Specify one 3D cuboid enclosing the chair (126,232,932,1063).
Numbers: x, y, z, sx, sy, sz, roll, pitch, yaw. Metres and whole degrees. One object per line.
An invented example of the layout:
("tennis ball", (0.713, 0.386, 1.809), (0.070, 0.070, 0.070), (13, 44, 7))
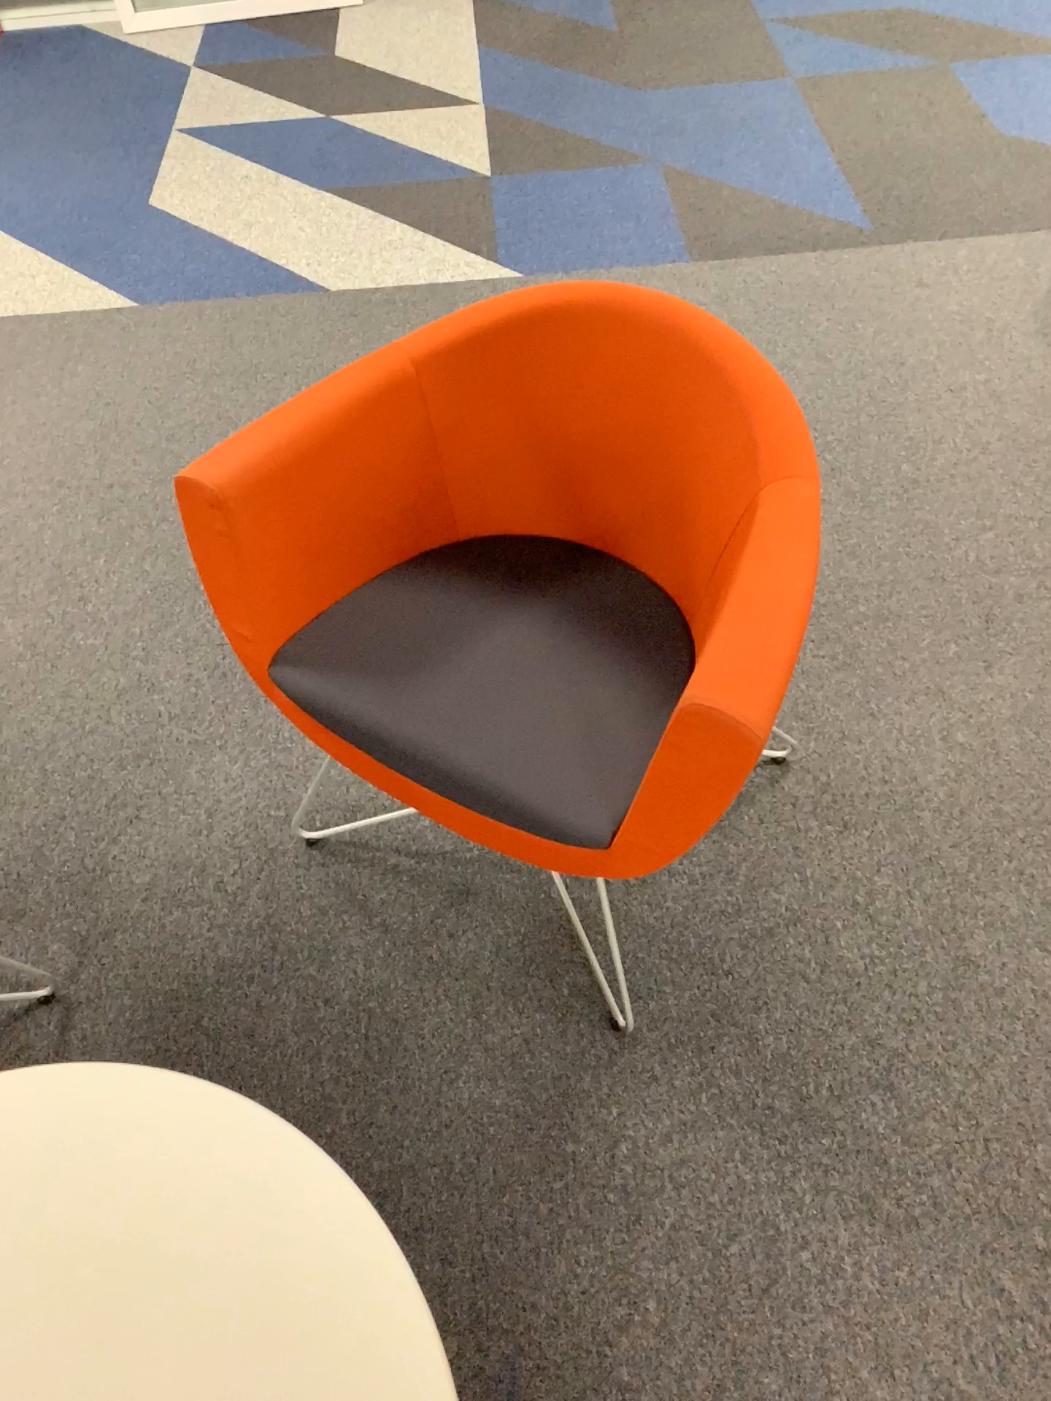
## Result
("chair", (0.036, -0.074, 1.434), (0.641, 0.707, 0.622), (26, 57, 23))
